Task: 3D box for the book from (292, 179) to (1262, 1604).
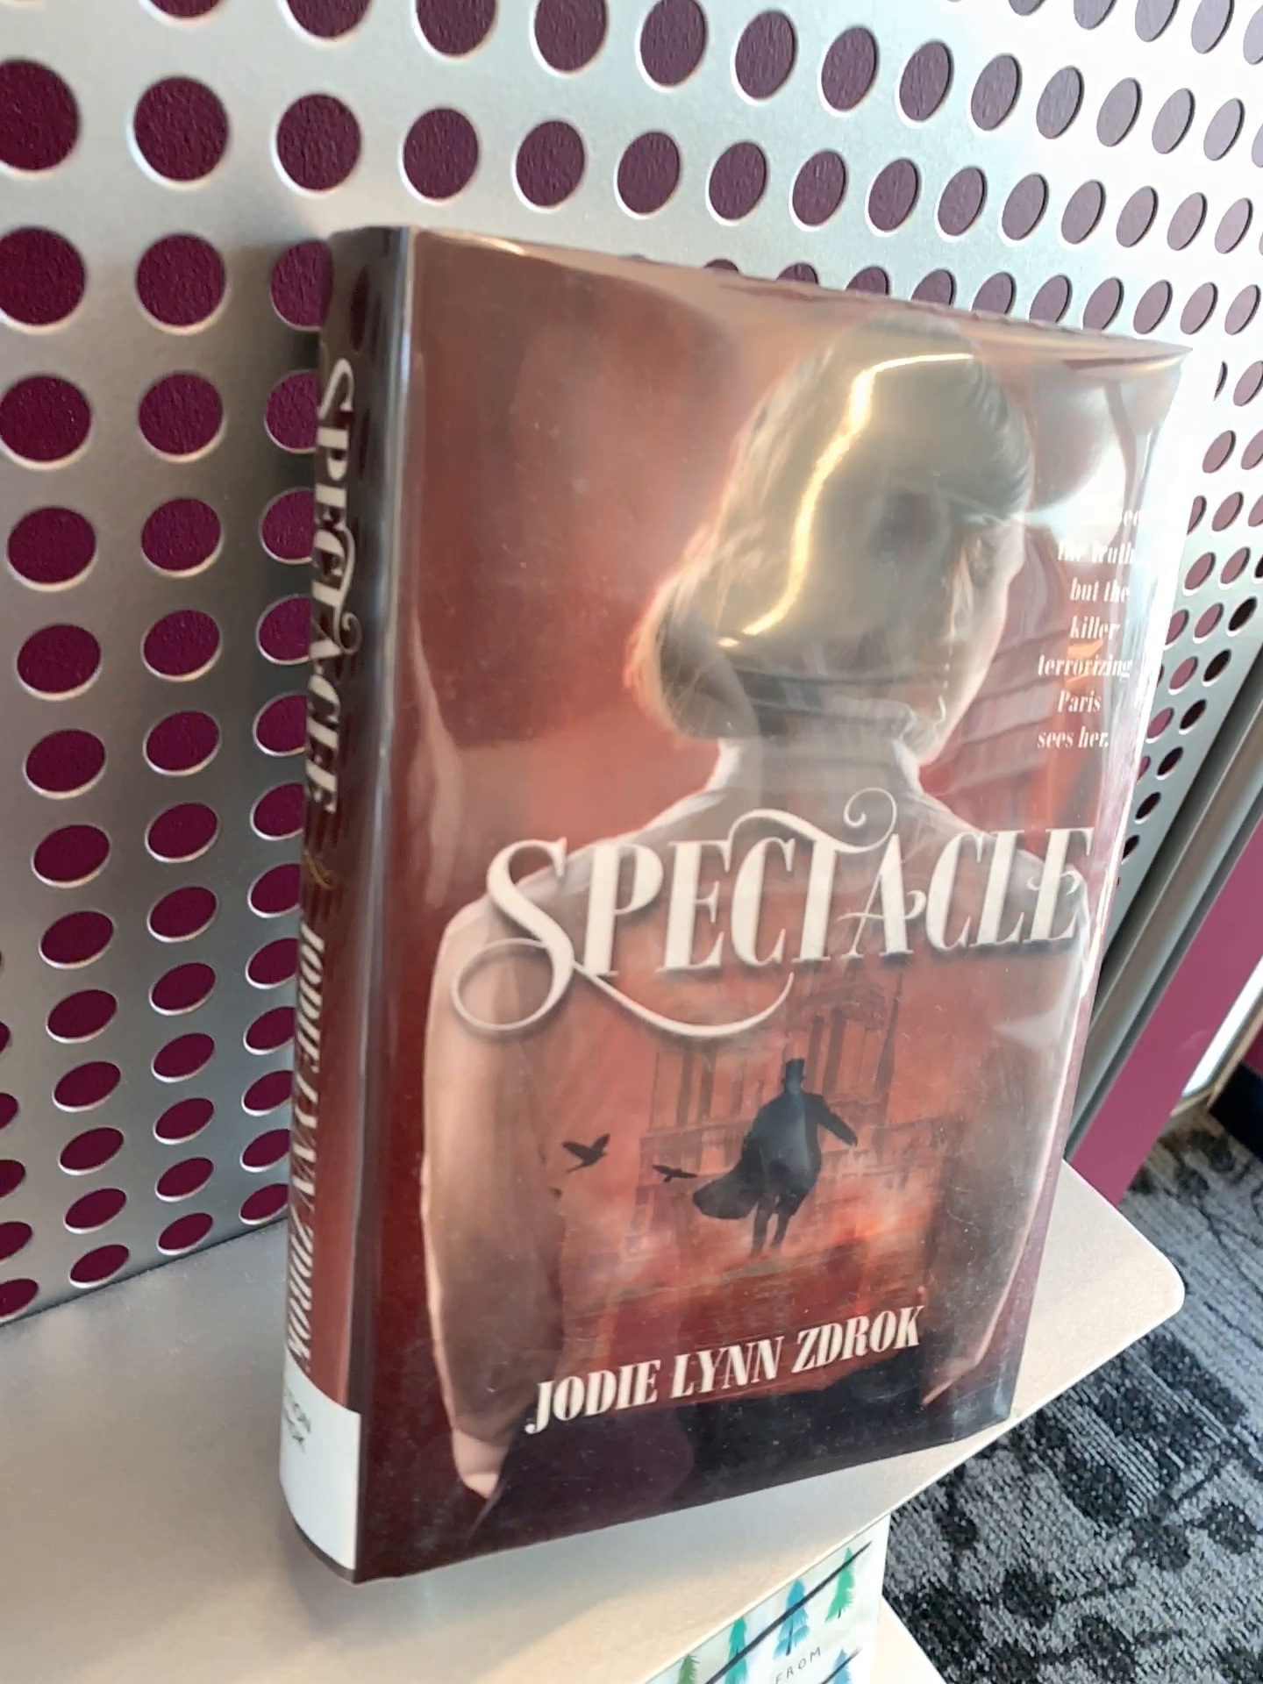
[{"bbox_3d":[0.022,0.011,0.236,0.153,0.212,0.059,-3,19,-21],"label":"book"}]
